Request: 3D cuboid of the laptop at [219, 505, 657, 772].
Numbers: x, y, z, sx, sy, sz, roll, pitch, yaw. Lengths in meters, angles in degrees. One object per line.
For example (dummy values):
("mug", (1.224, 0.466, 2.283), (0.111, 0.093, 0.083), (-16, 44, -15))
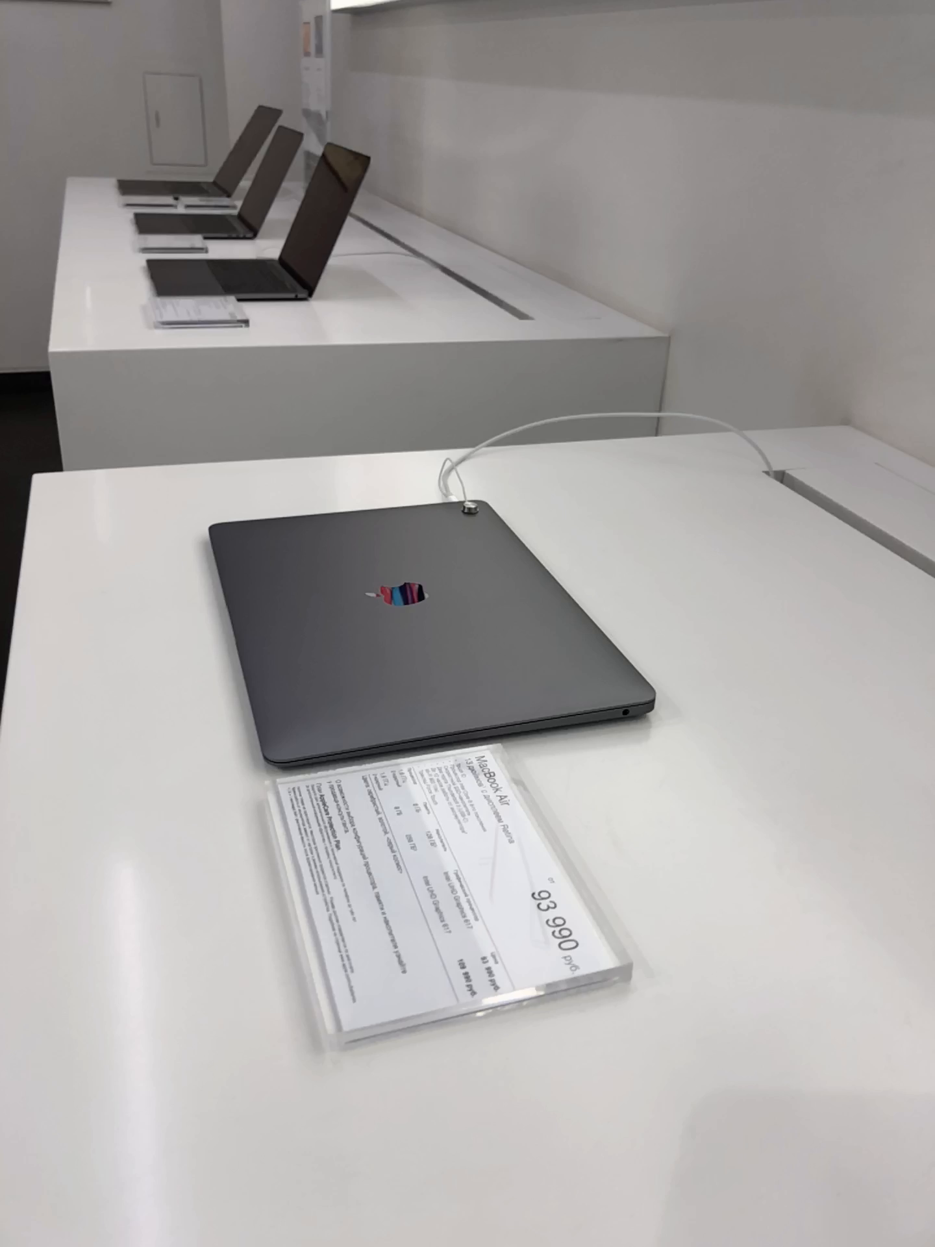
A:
("laptop", (-0.039, -0.010, 0.643), (0.204, 0.006, 0.293), (-7, 29, -15))
